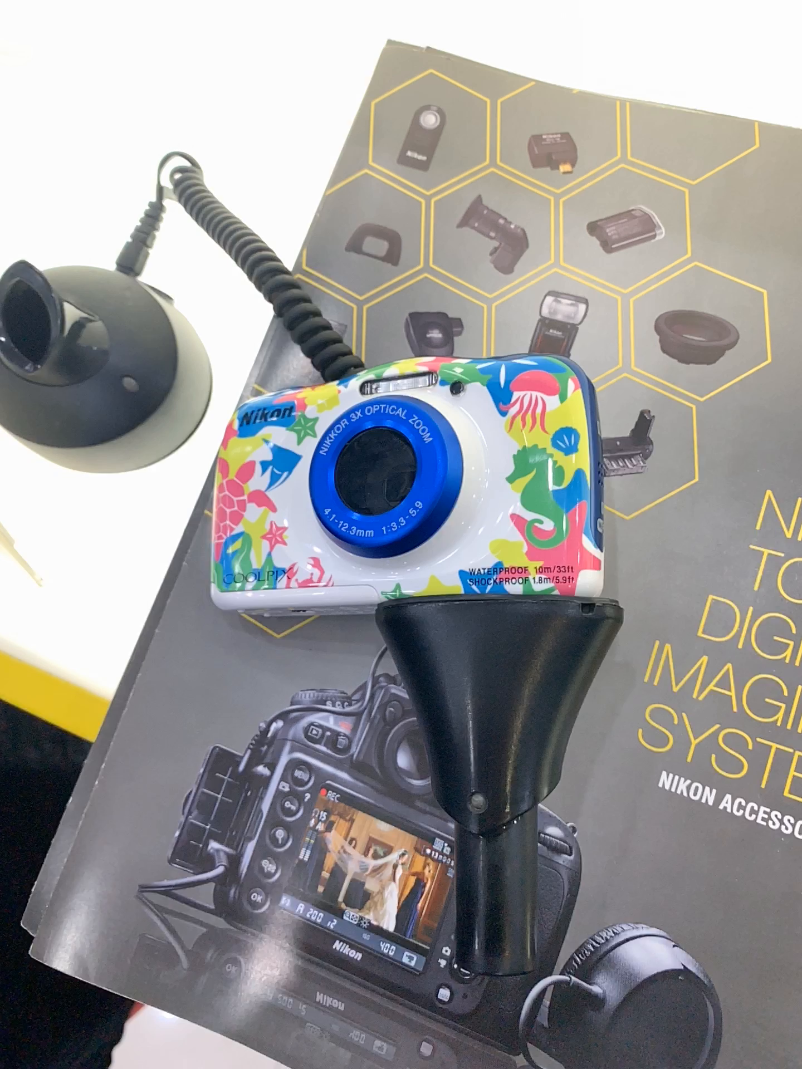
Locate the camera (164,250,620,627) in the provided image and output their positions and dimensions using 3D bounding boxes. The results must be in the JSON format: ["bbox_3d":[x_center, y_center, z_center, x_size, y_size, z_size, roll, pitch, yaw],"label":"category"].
[{"bbox_3d":[-0.003,-0.020,0.218,0.110,0.030,0.080,-5,72,23],"label":"camera"}]
